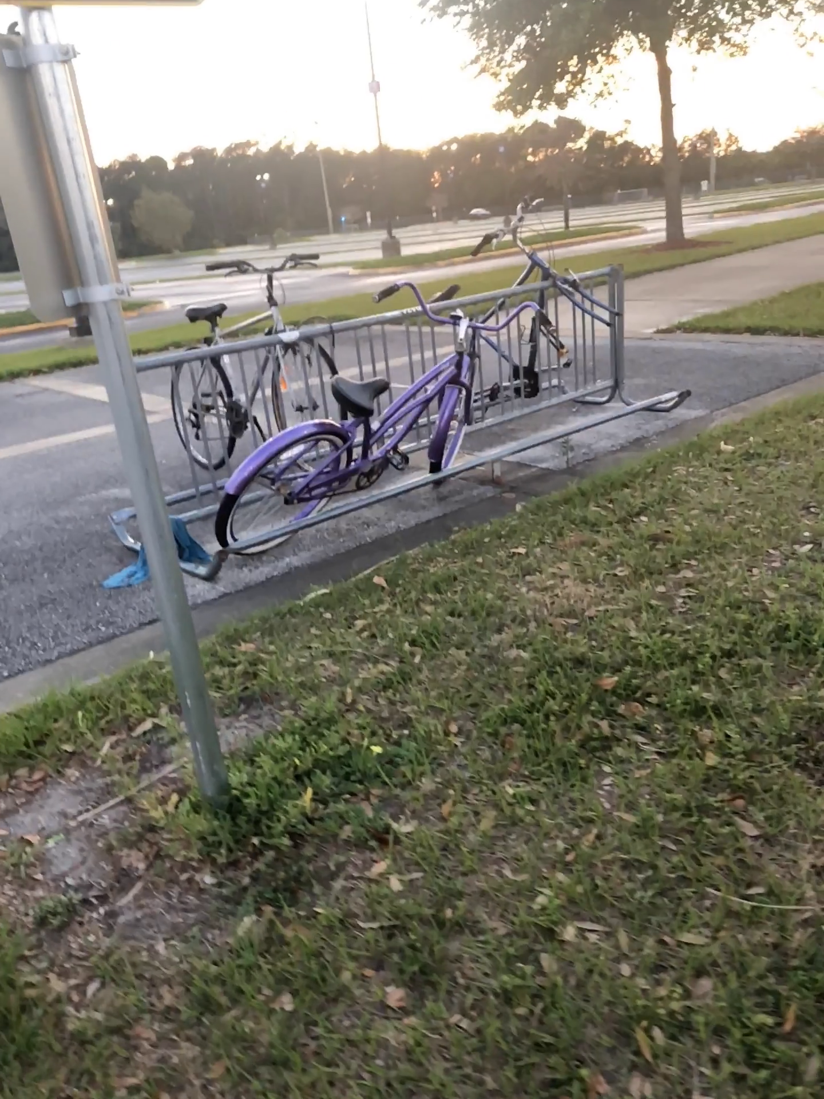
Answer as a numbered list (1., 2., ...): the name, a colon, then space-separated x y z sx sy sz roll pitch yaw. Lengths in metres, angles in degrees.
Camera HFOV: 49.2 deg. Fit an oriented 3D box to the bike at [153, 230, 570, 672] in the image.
1. bike: -0.104 -0.556 3.748 0.851 1.116 1.706 9 29 39
